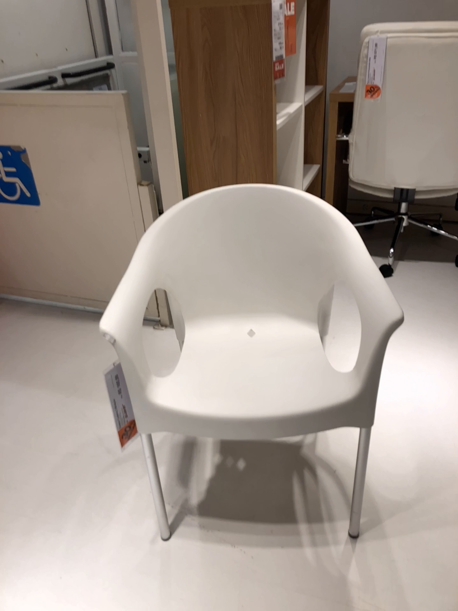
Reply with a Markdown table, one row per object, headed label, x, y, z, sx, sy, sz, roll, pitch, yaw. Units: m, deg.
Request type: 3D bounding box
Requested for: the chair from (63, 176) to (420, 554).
| label | x | y | z | sx | sy | sz | roll | pitch | yaw |
| --- | --- | --- | --- | --- | --- | --- | --- | --- | --- |
| chair | 0.051 | 0.131 | 1.303 | 0.610 | 0.734 | 0.615 | -1 | 31 | 5 |
